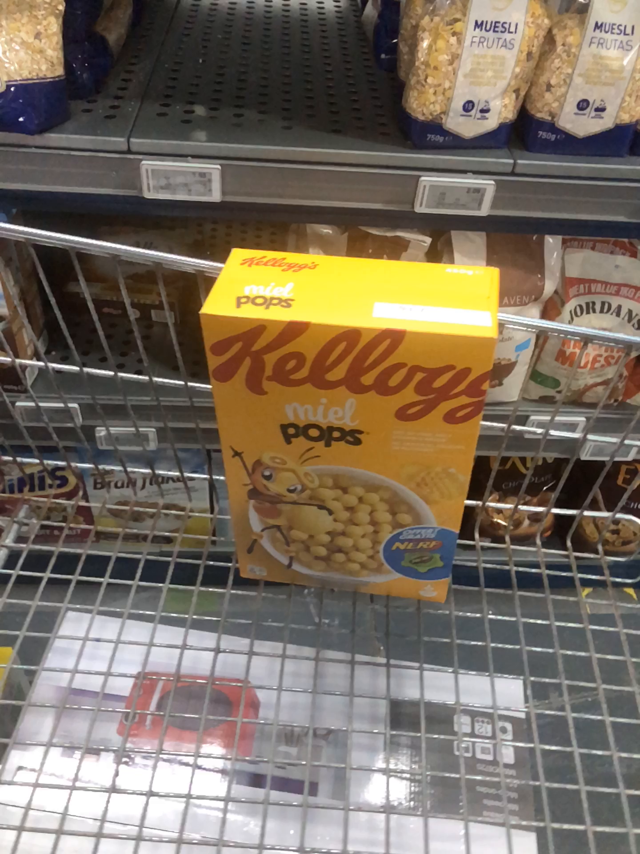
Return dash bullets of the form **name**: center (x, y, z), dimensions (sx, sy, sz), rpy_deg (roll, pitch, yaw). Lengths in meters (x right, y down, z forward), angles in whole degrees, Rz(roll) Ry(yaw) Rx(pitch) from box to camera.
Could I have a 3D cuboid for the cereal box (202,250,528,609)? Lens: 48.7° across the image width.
- **cereal box**: center (0.027, 0.016, 0.560), dimensions (0.200, 0.279, 0.090), rpy_deg (5, 42, 3)
